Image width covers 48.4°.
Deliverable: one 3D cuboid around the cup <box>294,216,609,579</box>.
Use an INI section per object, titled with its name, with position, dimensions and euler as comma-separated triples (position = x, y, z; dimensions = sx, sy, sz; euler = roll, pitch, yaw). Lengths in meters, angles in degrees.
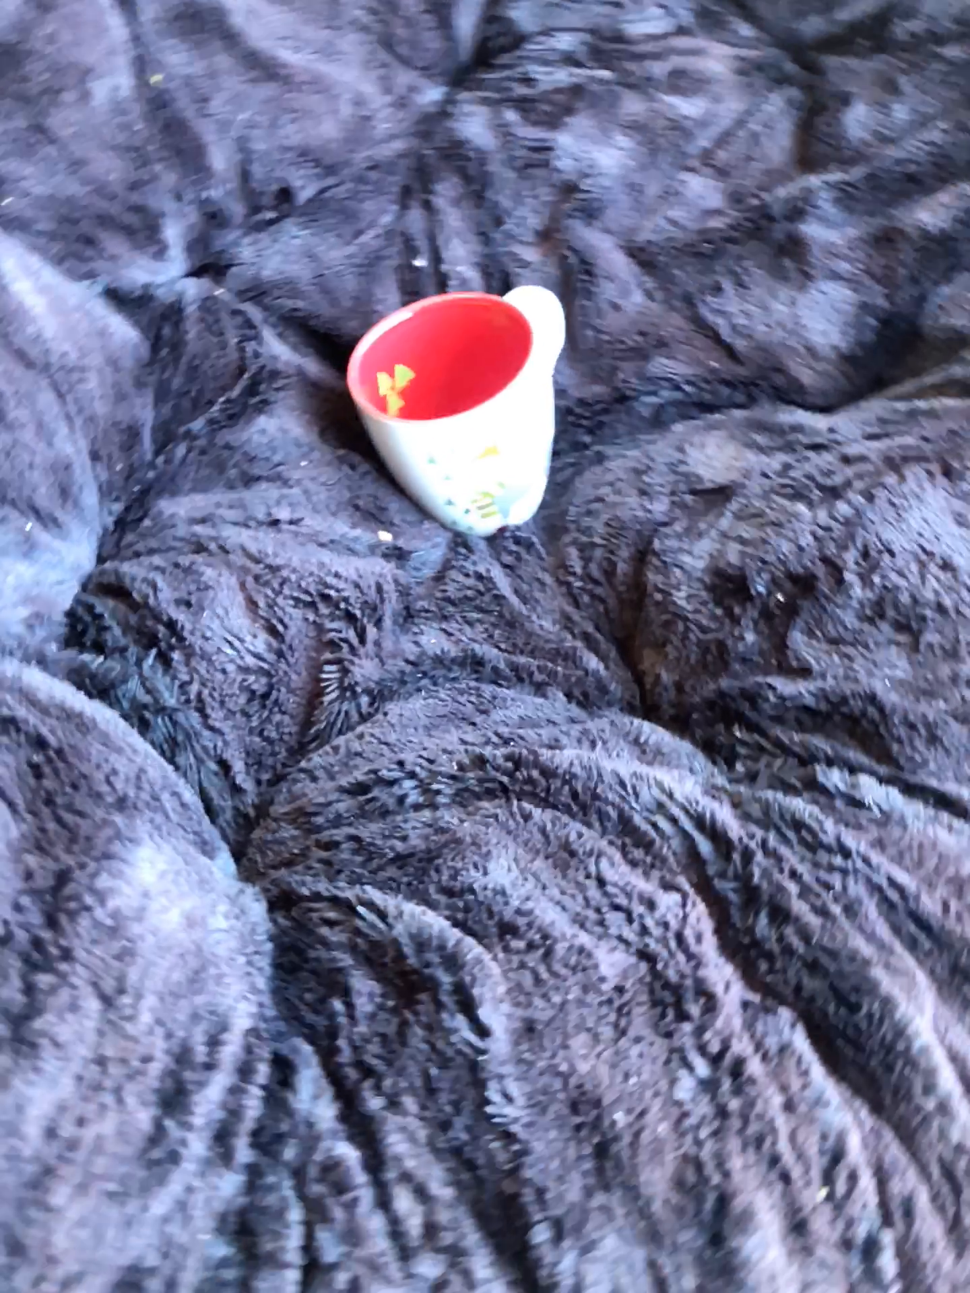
[cup]
position = -0.010, -0.136, 0.588
dimensions = 0.100, 0.110, 0.140
euler = 18, 62, 21
